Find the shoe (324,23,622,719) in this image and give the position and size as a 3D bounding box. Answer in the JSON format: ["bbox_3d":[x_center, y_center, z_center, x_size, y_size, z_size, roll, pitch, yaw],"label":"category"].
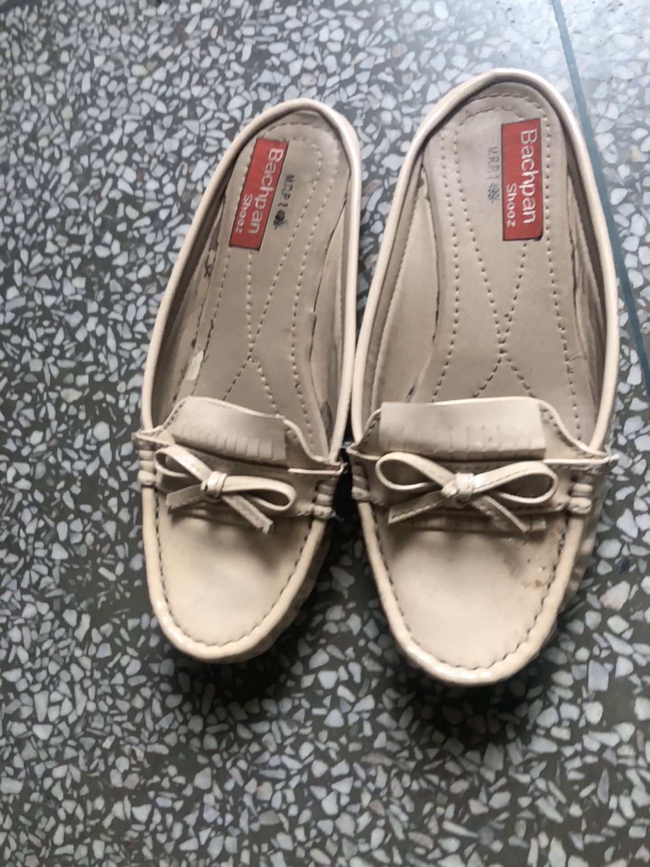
[{"bbox_3d":[0.052,-0.023,0.246,0.080,0.040,0.210,3,84,17],"label":"shoe"}]

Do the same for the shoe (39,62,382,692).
[{"bbox_3d":[-0.041,-0.026,0.281,0.090,0.040,0.220,7,85,17],"label":"shoe"}]
